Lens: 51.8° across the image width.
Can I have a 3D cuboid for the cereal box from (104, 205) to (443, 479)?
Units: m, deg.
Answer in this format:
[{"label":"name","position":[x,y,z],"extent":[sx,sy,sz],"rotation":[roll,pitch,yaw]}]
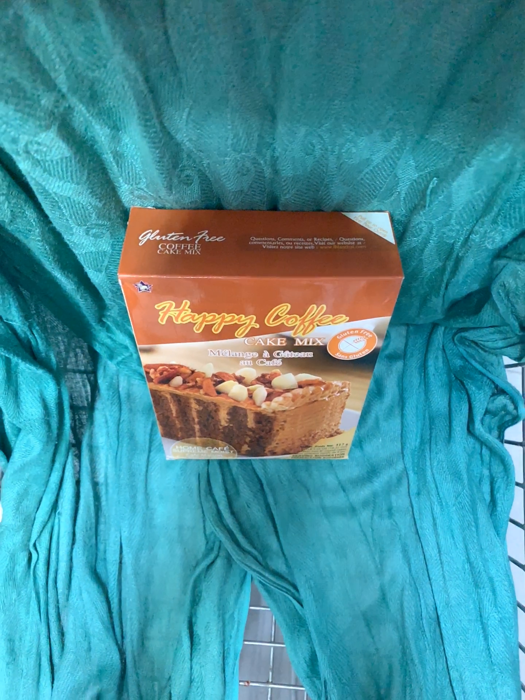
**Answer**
[{"label":"cereal box","position":[0.002,0.013,0.338],"extent":[0.150,0.210,0.050],"rotation":[0,52,-2]}]
